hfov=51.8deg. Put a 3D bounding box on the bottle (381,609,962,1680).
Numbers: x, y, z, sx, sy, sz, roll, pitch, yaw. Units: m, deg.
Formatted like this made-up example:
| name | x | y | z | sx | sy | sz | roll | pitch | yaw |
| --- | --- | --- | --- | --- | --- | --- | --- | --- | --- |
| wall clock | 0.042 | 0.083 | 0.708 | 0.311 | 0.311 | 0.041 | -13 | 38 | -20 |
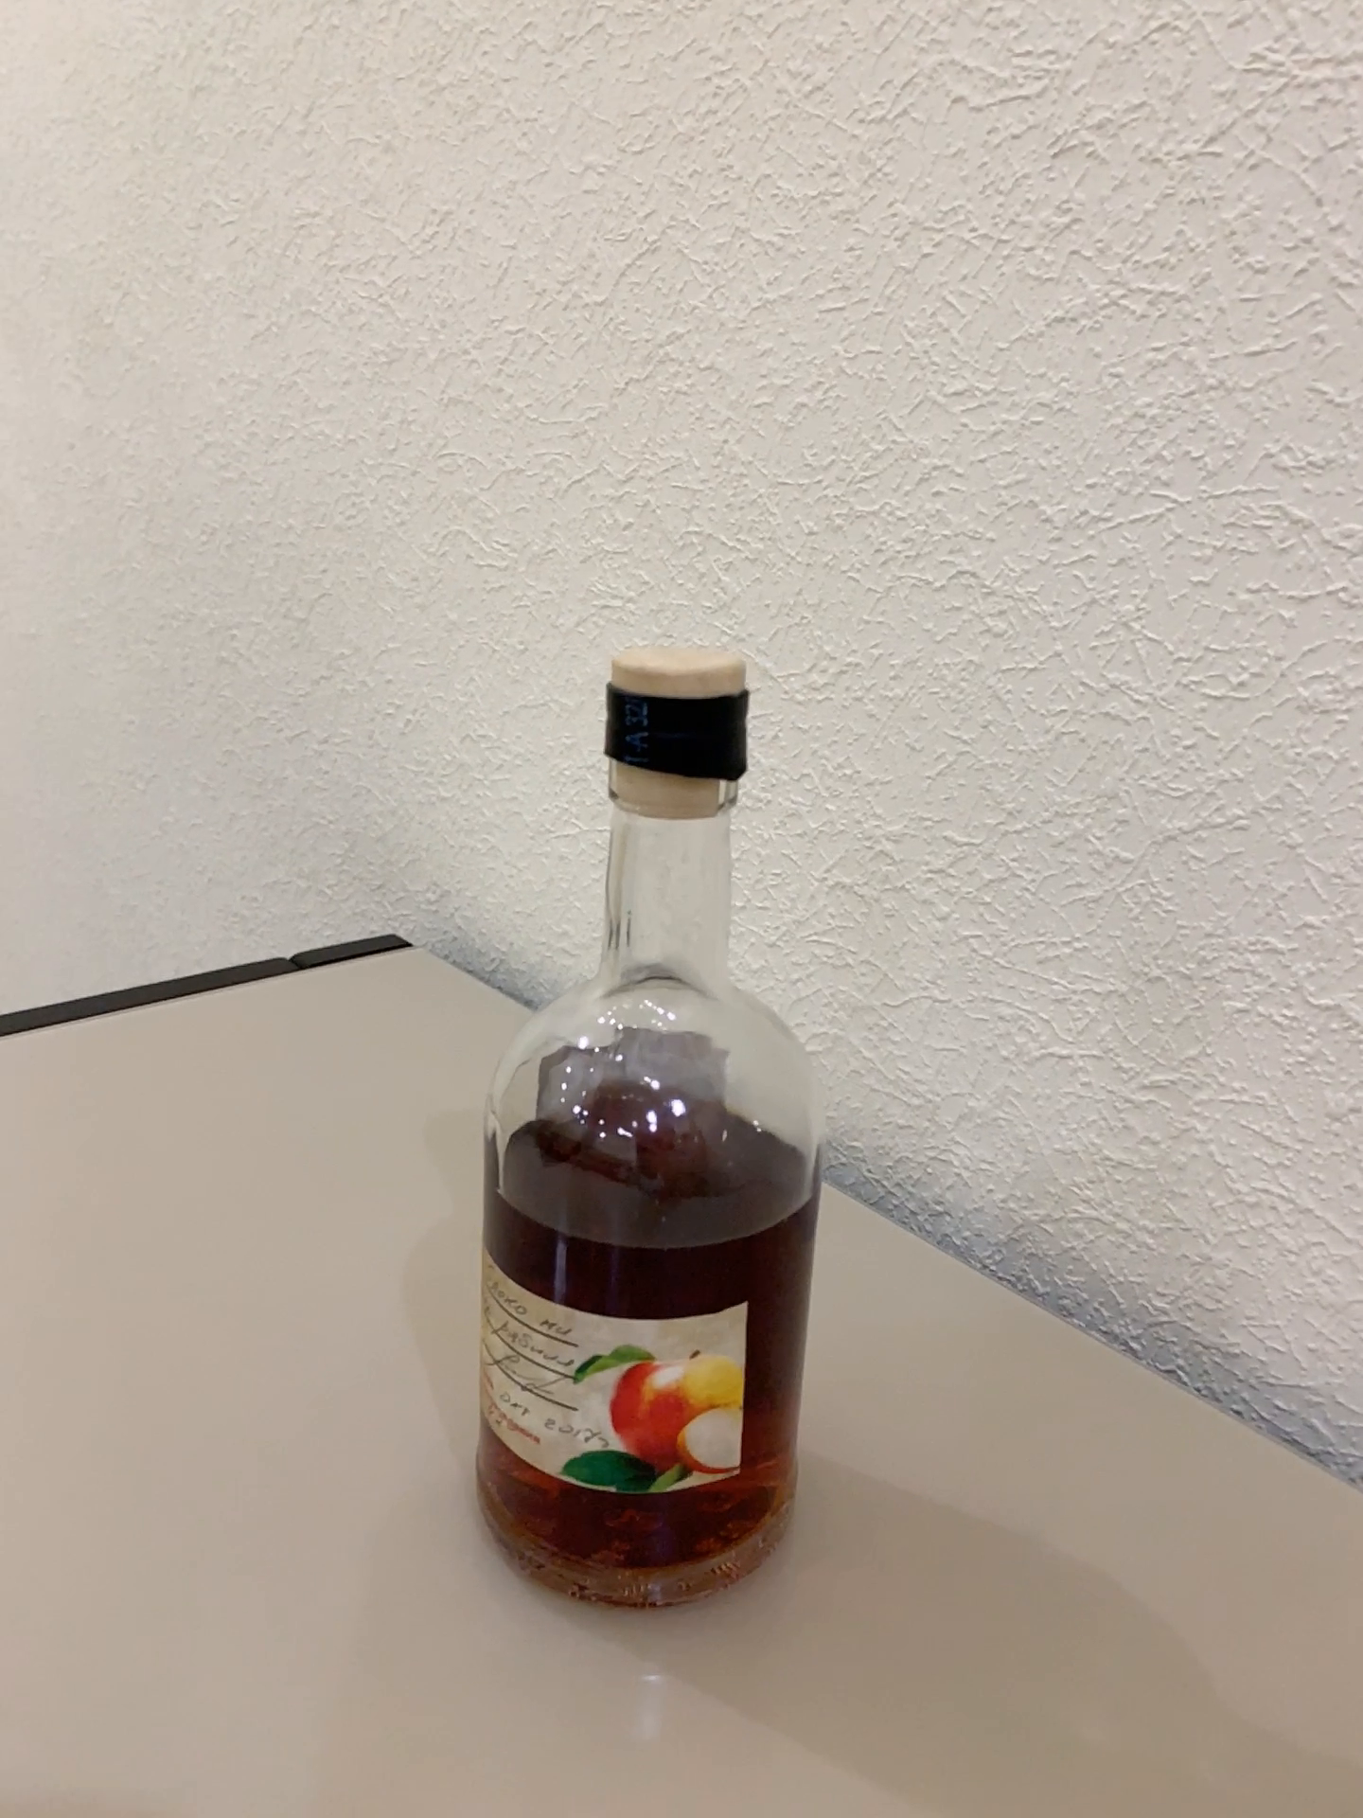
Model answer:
| name | x | y | z | sx | sy | sz | roll | pitch | yaw |
| --- | --- | --- | --- | --- | --- | --- | --- | --- | --- |
| bottle | -0.004 | 0.044 | 0.310 | 0.090 | 0.201 | 0.080 | 11 | 20 | 23 |
